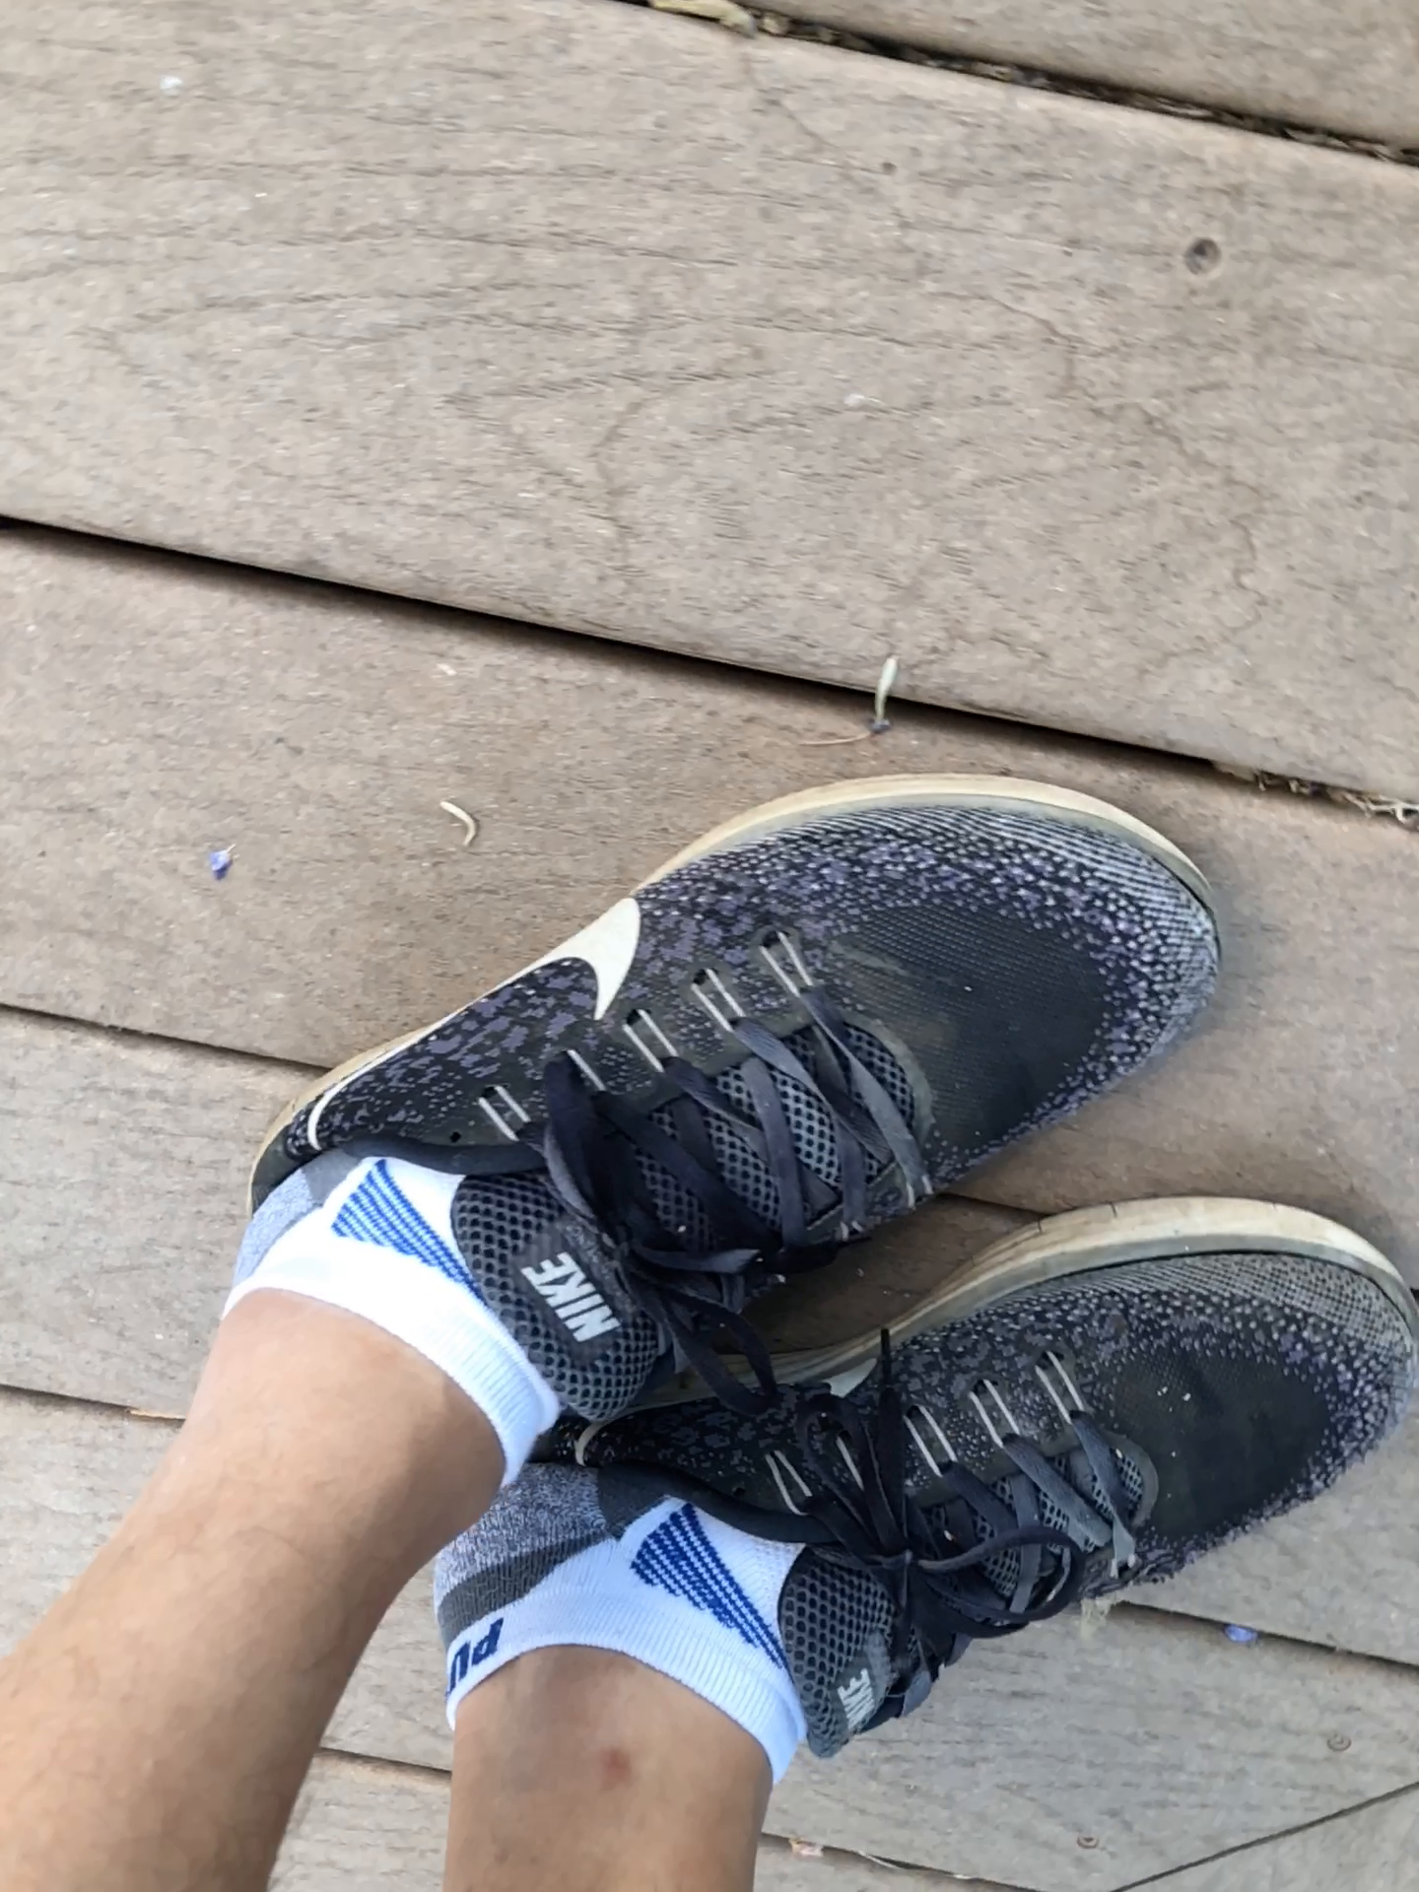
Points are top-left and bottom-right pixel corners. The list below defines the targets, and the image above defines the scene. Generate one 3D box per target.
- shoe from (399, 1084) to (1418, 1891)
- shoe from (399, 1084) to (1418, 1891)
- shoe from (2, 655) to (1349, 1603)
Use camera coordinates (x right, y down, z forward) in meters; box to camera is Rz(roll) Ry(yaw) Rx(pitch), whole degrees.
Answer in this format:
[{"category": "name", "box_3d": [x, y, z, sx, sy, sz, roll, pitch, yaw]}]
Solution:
[{"category": "shoe", "box_3d": [0.069, 0.158, 0.448, 0.270, 0.100, 0.120, -21, 111, 11]}, {"category": "shoe", "box_3d": [0.069, 0.158, 0.448, 0.270, 0.100, 0.120, -21, 111, 11]}, {"category": "shoe", "box_3d": [-0.011, 0.052, 0.414, 0.300, 0.090, 0.120, -24, 110, 12]}]
